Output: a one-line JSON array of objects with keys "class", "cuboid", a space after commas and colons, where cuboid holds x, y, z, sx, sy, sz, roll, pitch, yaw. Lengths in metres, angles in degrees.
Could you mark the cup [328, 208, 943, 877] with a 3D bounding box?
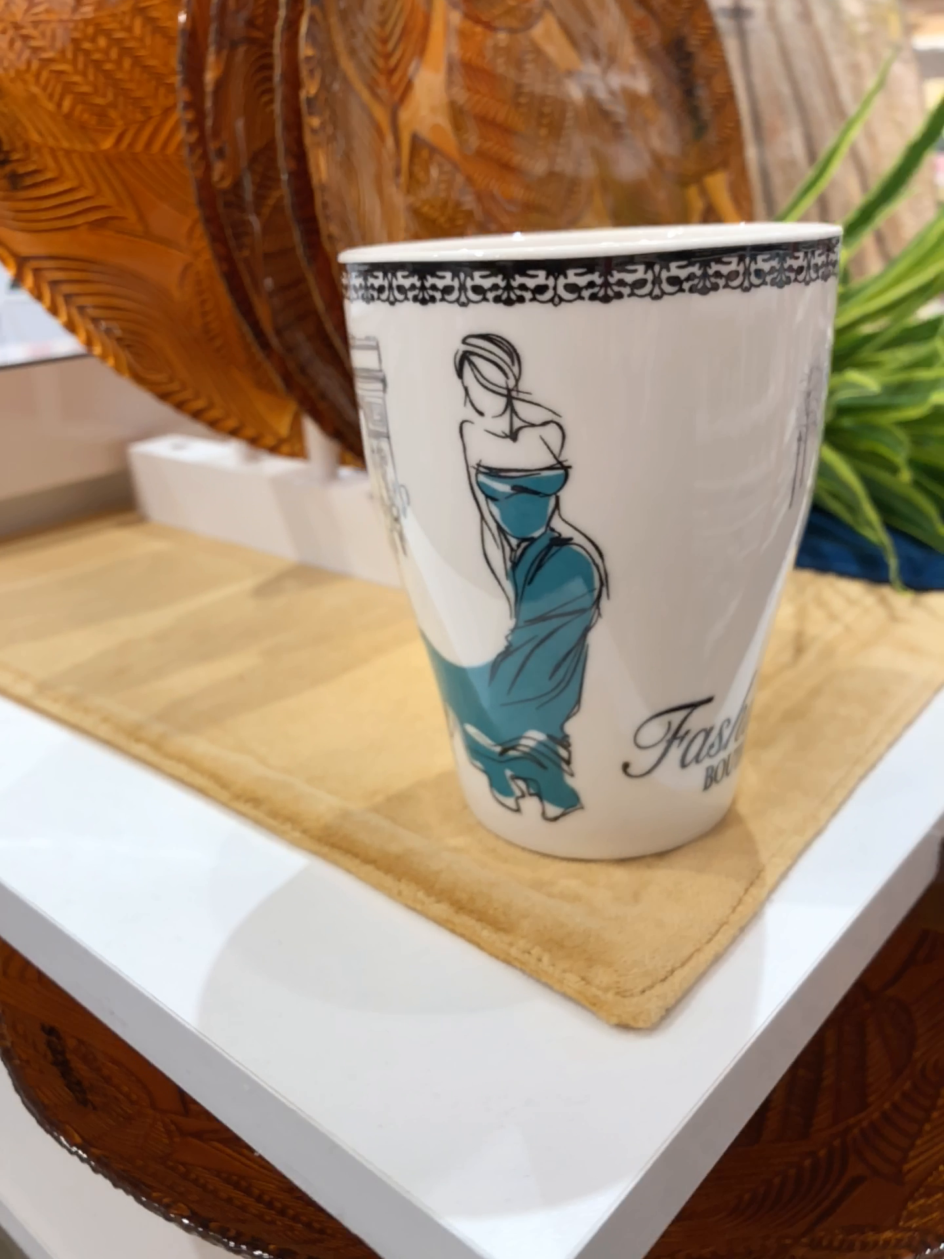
[{"class": "cup", "cuboid": [0.028, -0.026, 0.210, 0.080, 0.100, 0.110, -1, 21, 6]}]
